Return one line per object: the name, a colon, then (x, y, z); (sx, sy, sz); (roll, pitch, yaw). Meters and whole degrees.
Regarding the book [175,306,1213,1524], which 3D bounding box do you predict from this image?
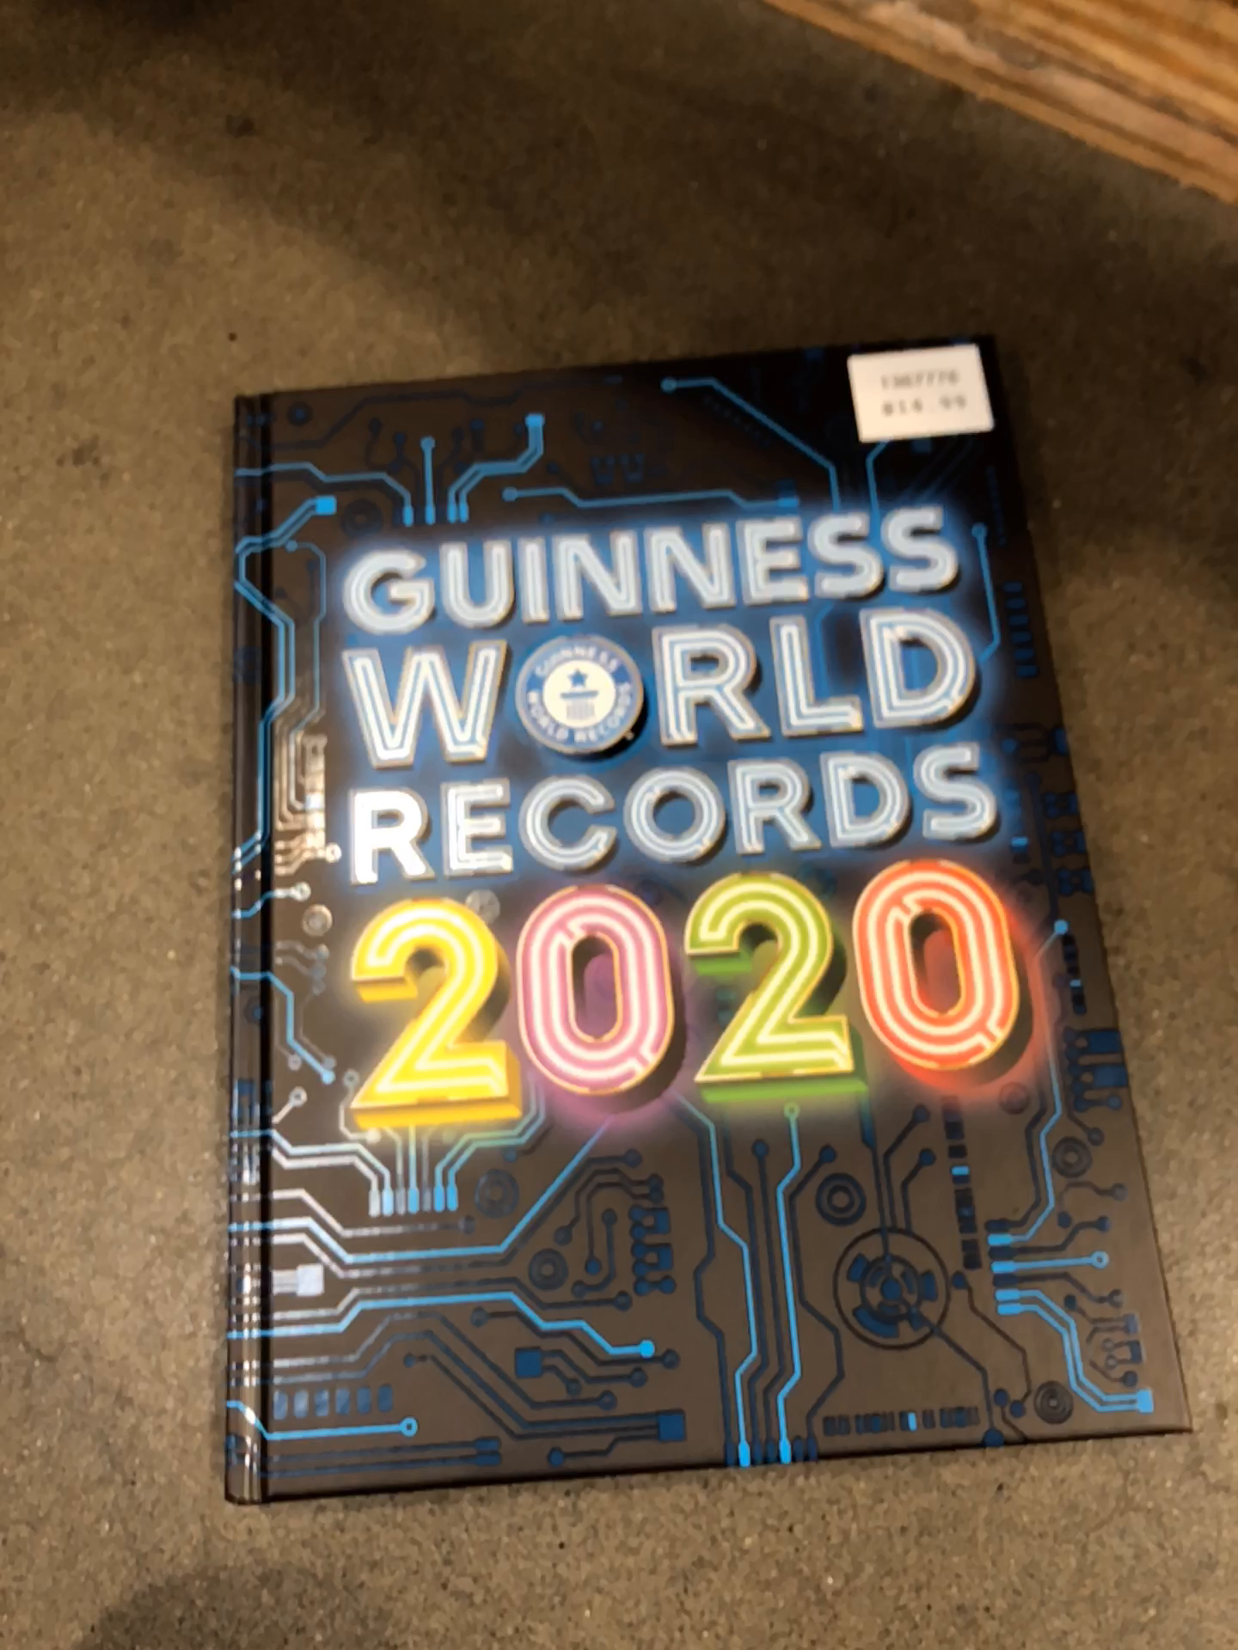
book: (0.006, 0.008, 0.381); (0.240, 0.030, 0.312); (-5, 72, 0)
